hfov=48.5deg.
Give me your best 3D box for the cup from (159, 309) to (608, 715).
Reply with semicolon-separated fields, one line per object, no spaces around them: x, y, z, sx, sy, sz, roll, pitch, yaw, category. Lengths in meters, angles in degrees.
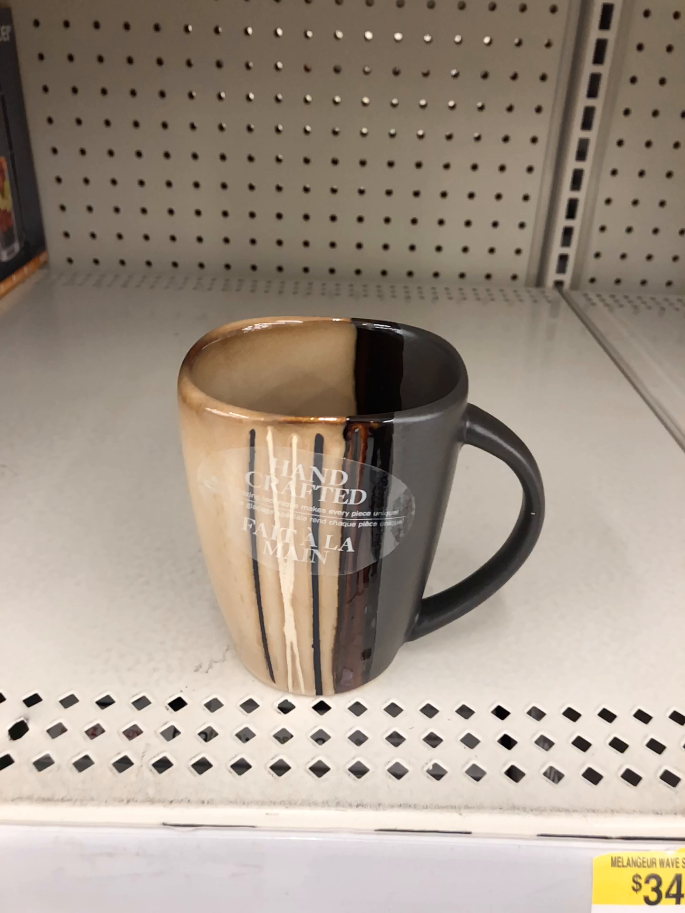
0.009;0.017;0.267;0.120;0.110;0.087;1;29;-2;cup
